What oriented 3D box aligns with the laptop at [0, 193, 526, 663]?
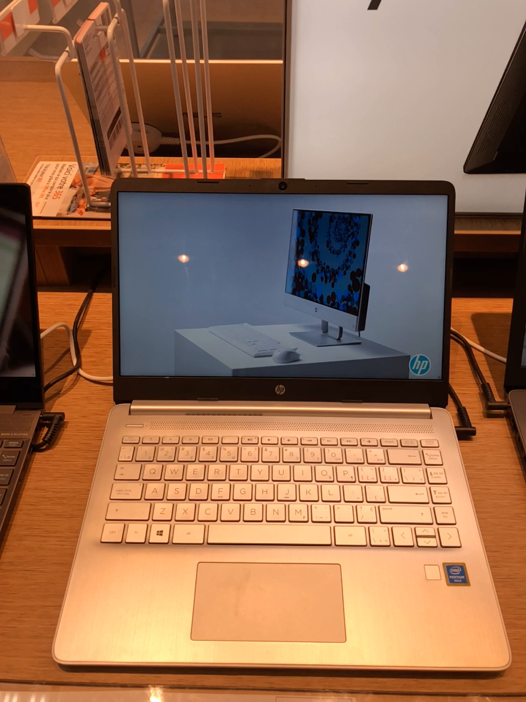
[{"bbox_3d":[0.020,0.038,0.475,0.307,0.167,0.347,0,46,3],"label":"laptop"}]
